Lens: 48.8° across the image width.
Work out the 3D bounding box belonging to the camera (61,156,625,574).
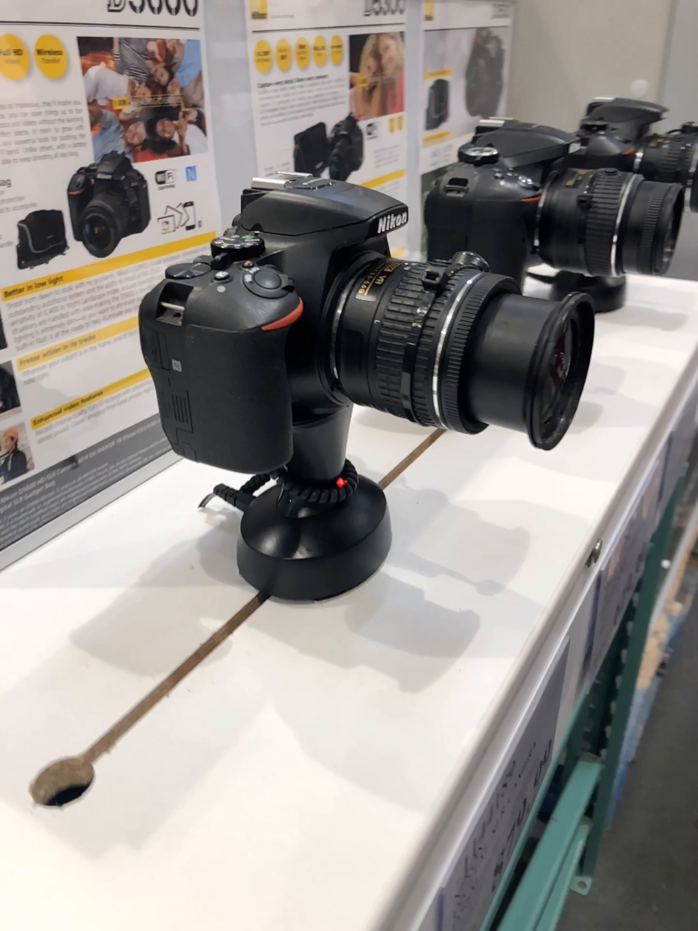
[{"bbox_3d":[0.003,-0.059,0.311,0.160,0.099,0.141,17,33,29],"label":"camera"}]
